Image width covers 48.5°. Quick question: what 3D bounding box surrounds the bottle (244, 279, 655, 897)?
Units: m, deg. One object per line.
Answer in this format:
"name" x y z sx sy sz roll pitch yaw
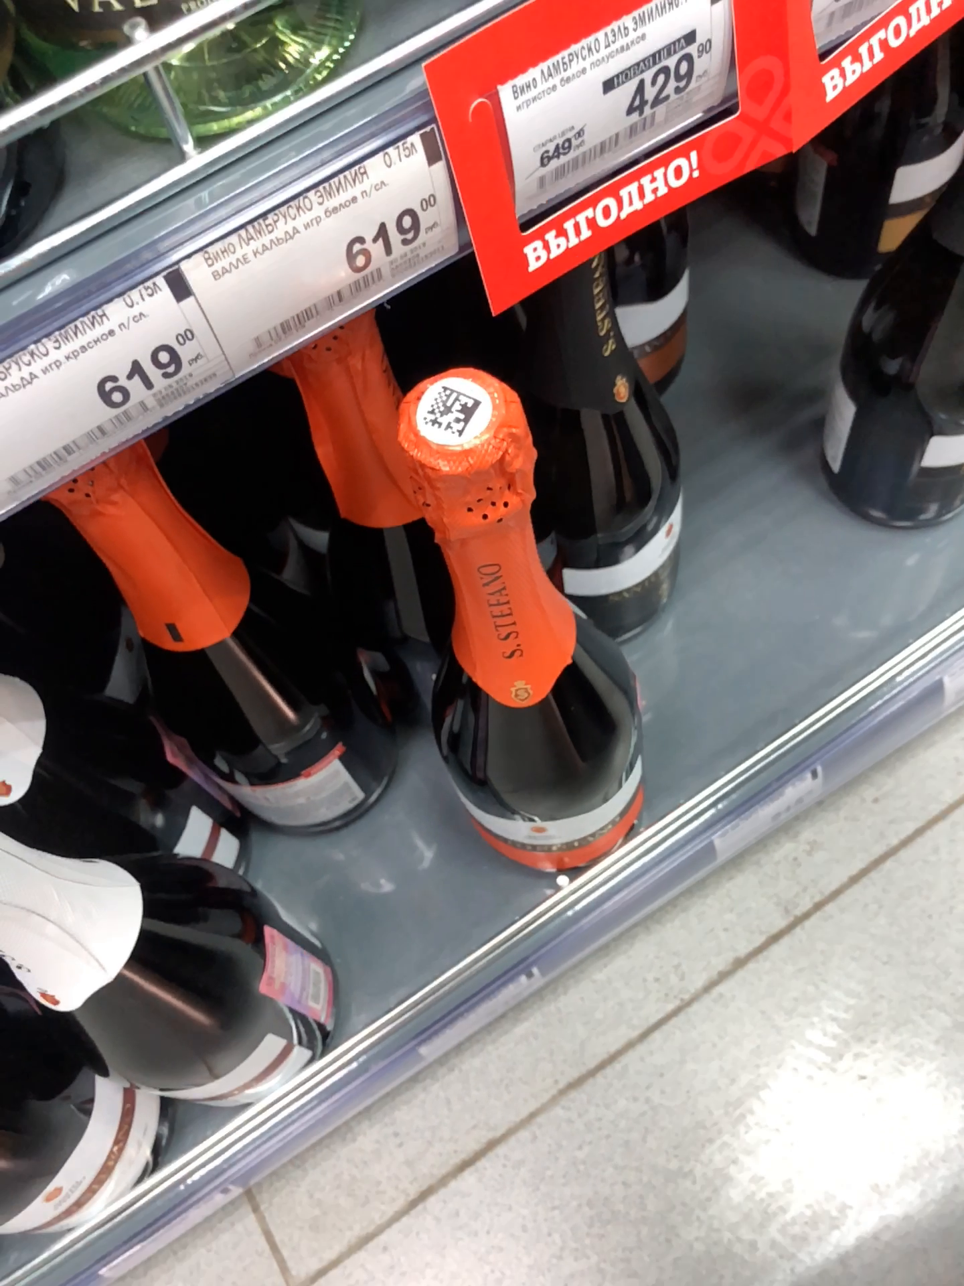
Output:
"bottle" 0.015 0.011 0.411 0.100 0.299 0.100 -4 63 7
